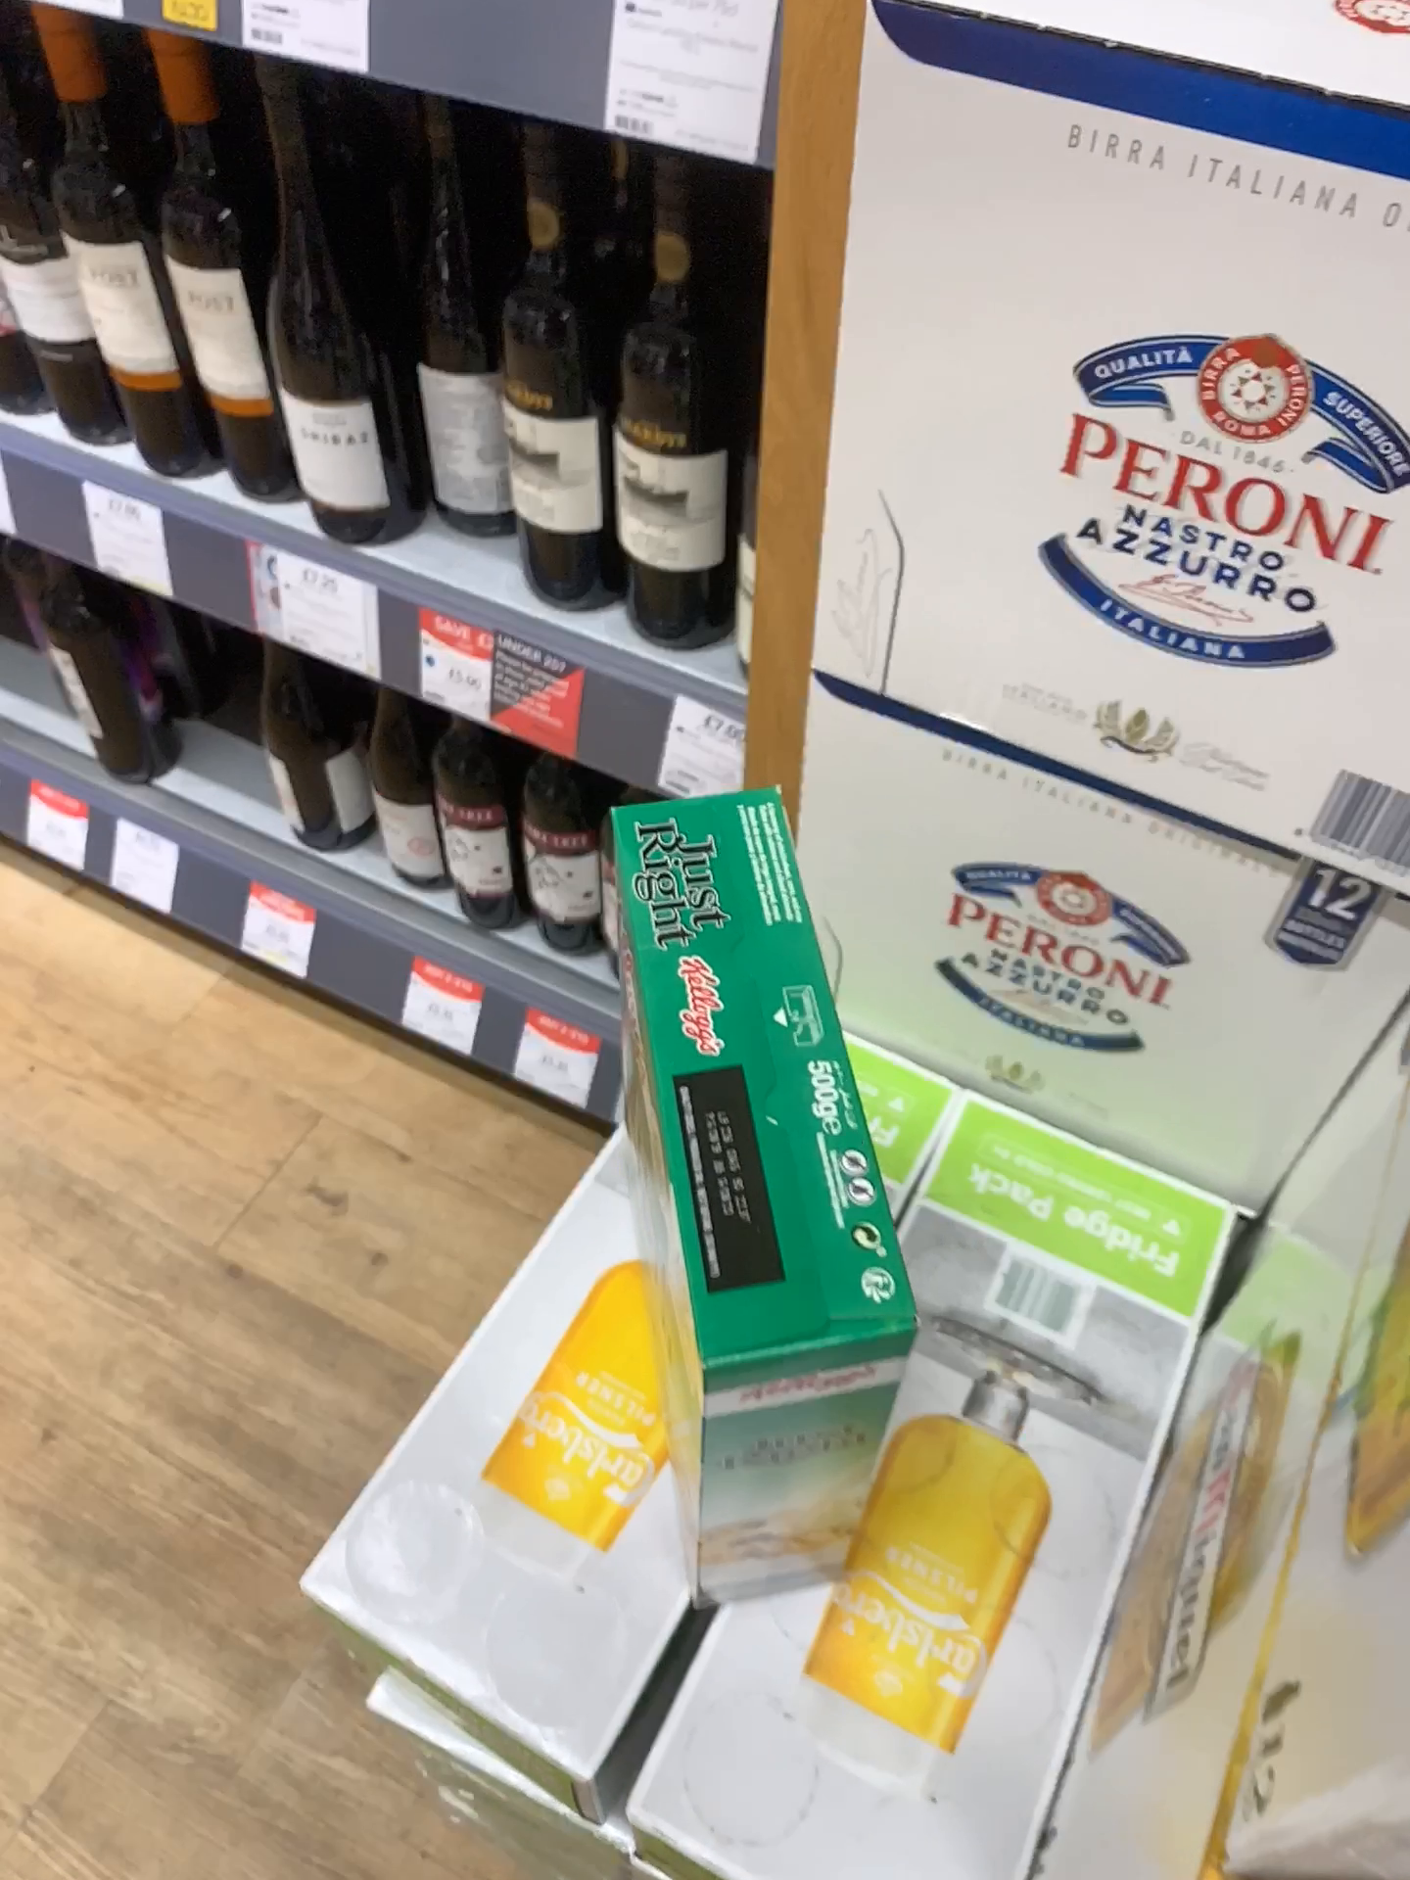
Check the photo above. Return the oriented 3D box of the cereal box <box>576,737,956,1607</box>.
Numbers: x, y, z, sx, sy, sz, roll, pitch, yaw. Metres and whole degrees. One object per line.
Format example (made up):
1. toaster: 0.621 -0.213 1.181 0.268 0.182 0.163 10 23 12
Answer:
1. cereal box: 0.009 0.088 0.492 0.070 0.238 0.192 -7 52 -6
